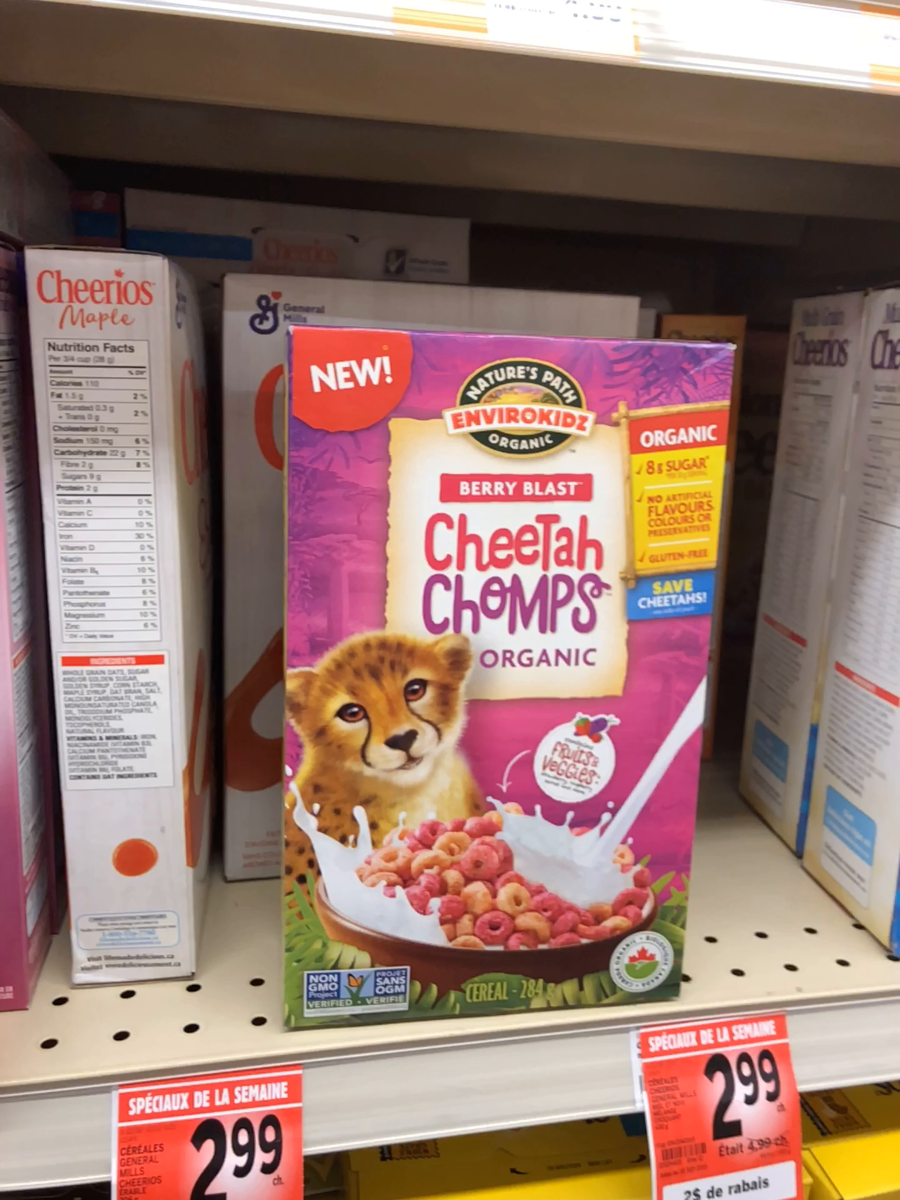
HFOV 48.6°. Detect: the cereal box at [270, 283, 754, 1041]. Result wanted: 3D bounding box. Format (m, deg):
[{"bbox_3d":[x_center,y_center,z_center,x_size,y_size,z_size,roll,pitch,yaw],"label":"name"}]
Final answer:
[{"bbox_3d":[0.014,0.022,0.379,0.160,0.259,0.070,0,10,-9],"label":"cereal box"}]
